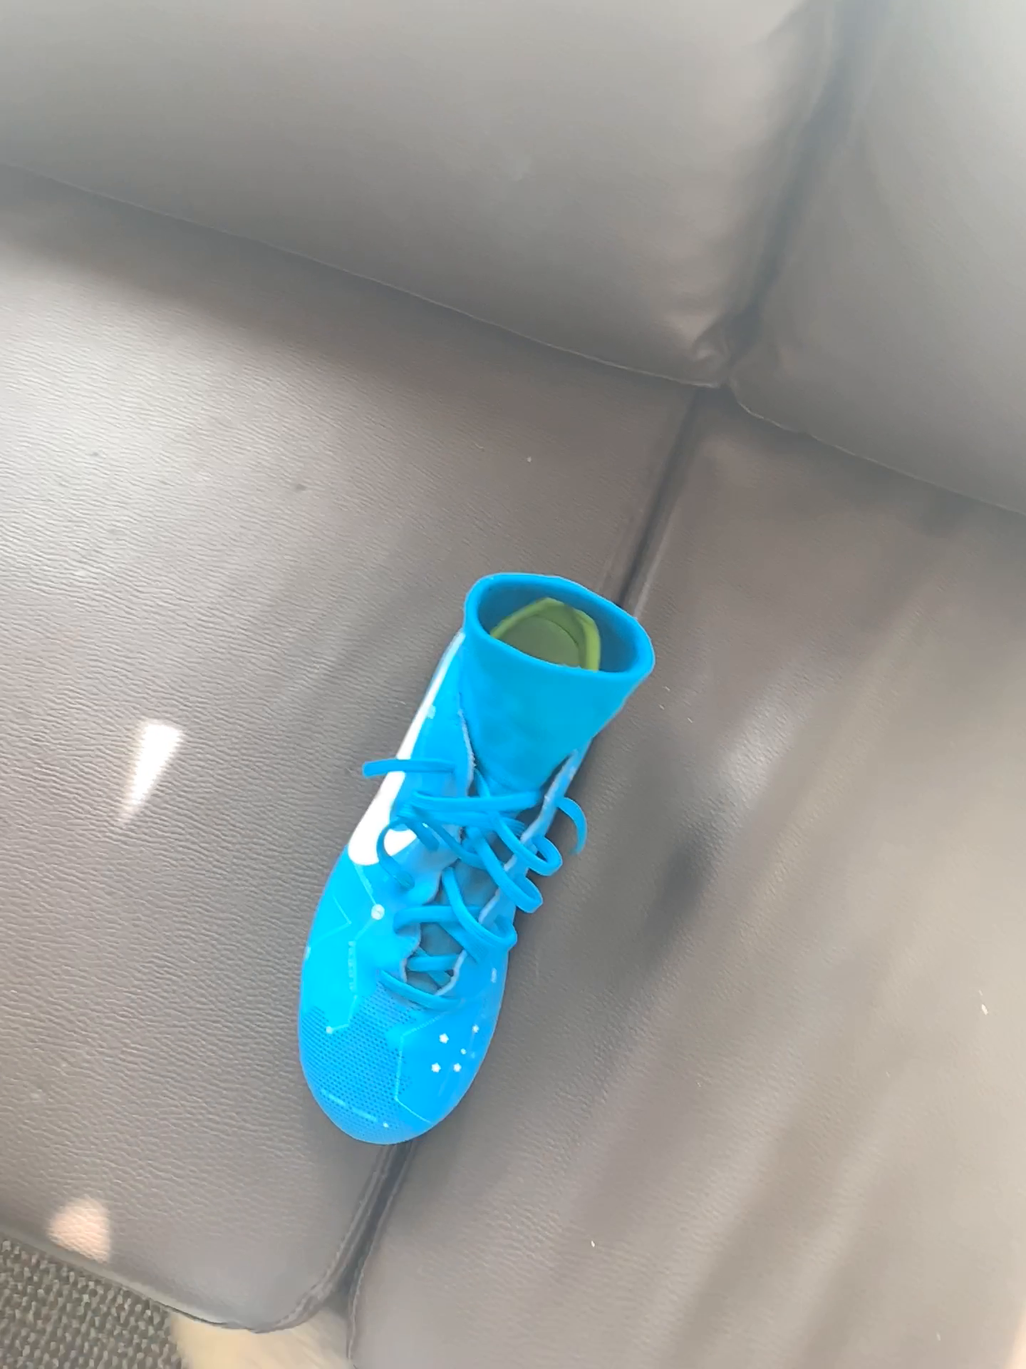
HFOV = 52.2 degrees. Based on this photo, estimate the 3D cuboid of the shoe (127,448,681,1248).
[{"bbox_3d":[-0.030,0.057,0.411,0.098,0.120,0.251,20,75,6],"label":"shoe"}]
